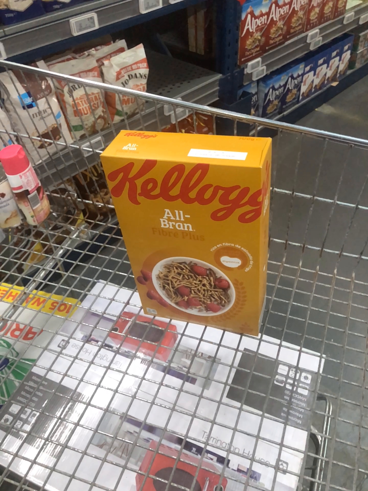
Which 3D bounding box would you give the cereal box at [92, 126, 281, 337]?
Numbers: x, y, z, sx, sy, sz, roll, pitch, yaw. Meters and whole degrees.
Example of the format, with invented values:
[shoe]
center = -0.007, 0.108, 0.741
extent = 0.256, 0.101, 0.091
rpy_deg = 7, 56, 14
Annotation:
[cereal box]
center = 0.020, -0.008, 0.550
extent = 0.200, 0.289, 0.070
rpy_deg = 8, 45, 19
